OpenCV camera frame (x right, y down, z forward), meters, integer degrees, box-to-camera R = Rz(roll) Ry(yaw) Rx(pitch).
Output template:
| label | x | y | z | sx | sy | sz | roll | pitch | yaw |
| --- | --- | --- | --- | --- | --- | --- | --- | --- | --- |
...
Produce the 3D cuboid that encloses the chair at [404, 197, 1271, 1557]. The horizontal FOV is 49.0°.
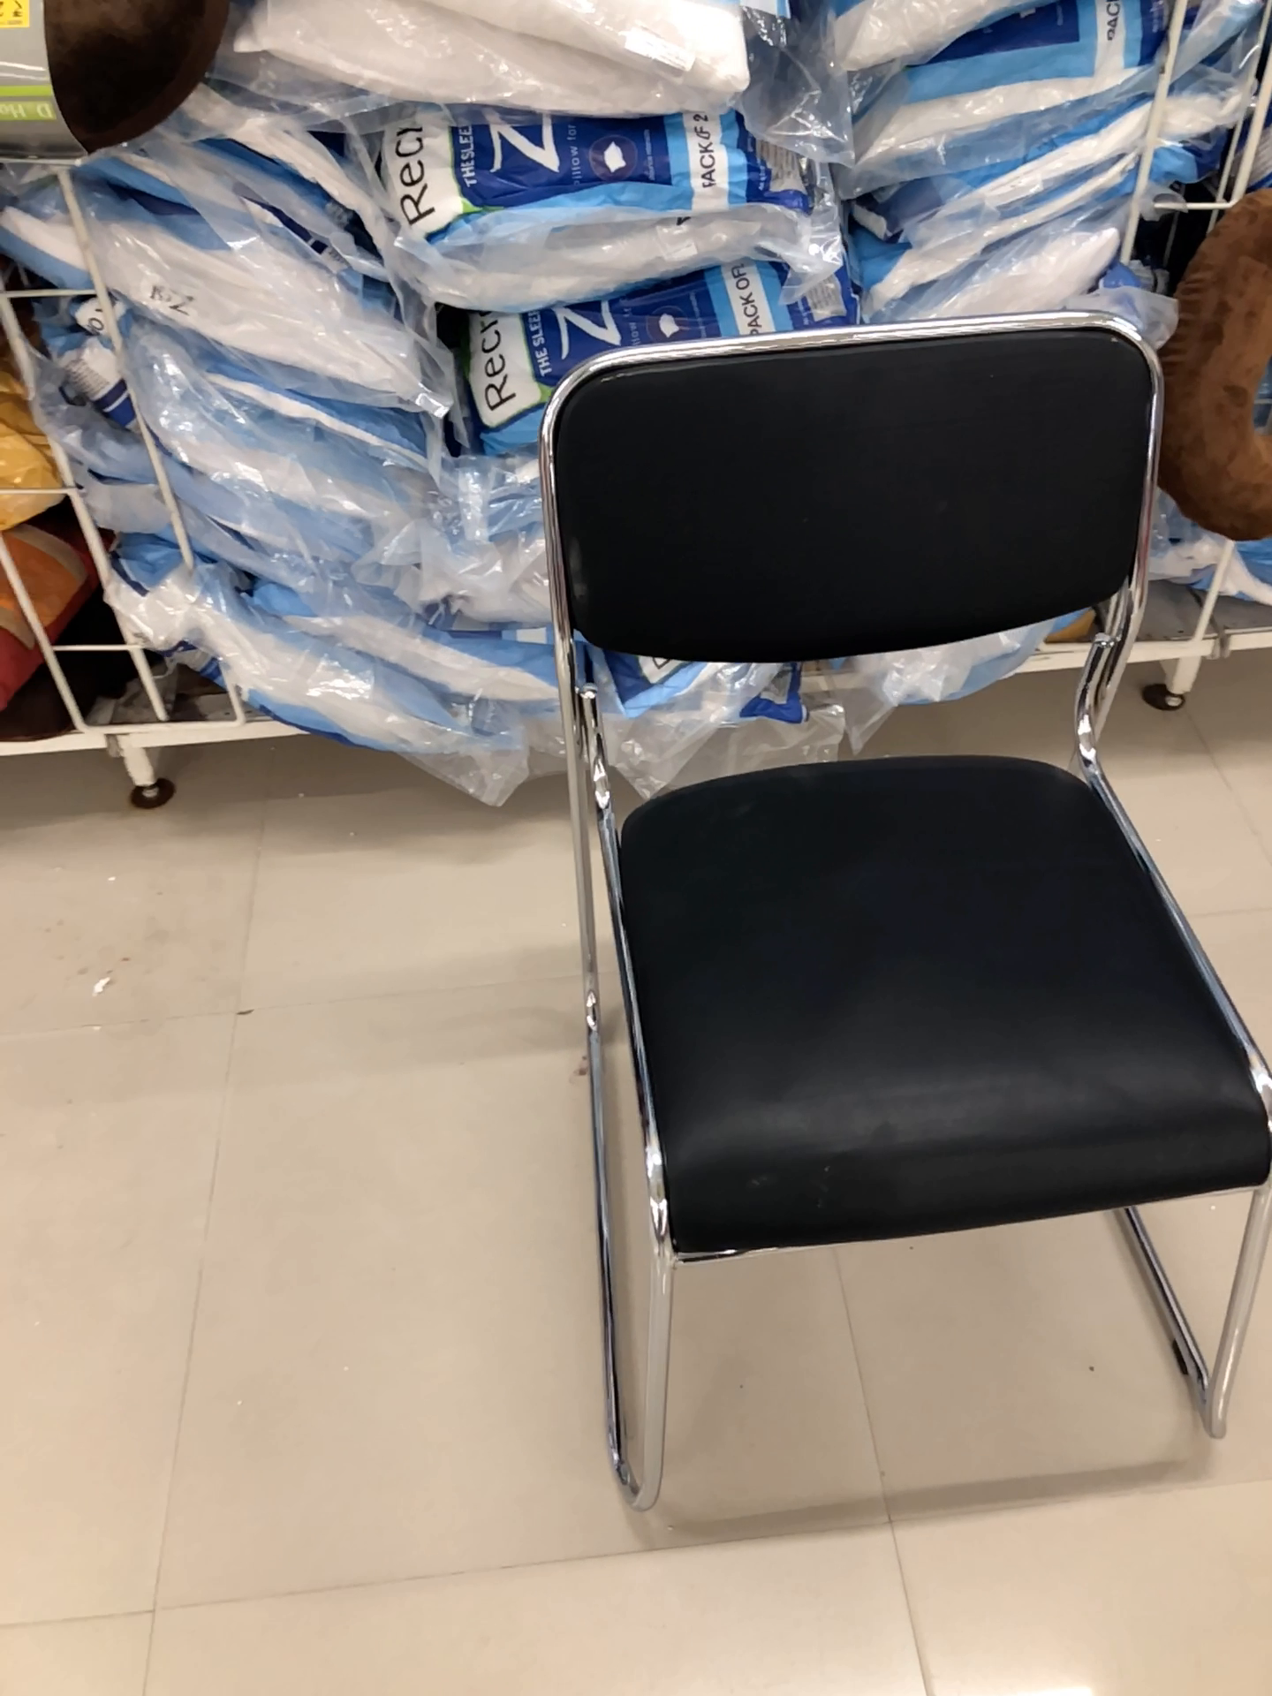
| label | x | y | z | sx | sy | sz | roll | pitch | yaw |
| --- | --- | --- | --- | --- | --- | --- | --- | --- | --- |
| chair | 0.180 | 0.058 | 1.026 | 0.570 | 0.795 | 0.563 | -5 | 46 | -3 |
